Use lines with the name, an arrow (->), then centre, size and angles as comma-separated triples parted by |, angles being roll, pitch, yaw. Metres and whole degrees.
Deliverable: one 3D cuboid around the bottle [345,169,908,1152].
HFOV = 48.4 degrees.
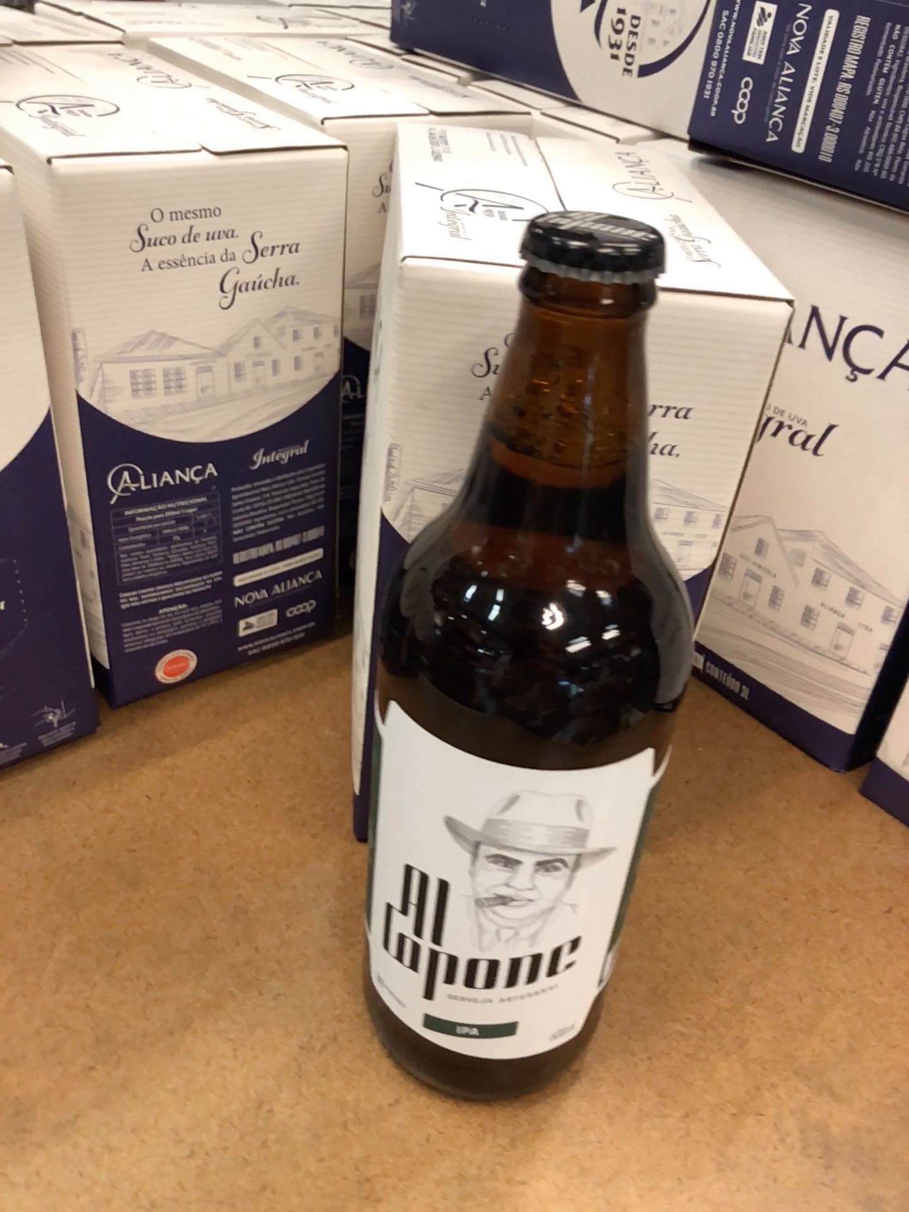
bottle -> 0.025, 0.029, 0.243 | 0.080, 0.228, 0.071 | 10, 35, 6
